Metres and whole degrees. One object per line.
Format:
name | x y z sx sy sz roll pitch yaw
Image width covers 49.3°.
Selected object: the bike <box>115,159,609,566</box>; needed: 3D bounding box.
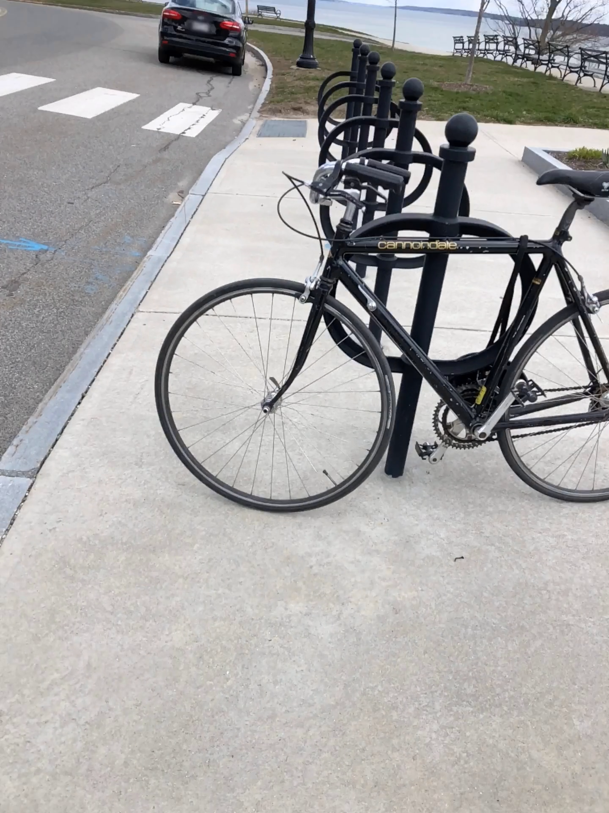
bike | 0.335 -0.106 1.578 1.382 0.805 0.488 1 31 -3
